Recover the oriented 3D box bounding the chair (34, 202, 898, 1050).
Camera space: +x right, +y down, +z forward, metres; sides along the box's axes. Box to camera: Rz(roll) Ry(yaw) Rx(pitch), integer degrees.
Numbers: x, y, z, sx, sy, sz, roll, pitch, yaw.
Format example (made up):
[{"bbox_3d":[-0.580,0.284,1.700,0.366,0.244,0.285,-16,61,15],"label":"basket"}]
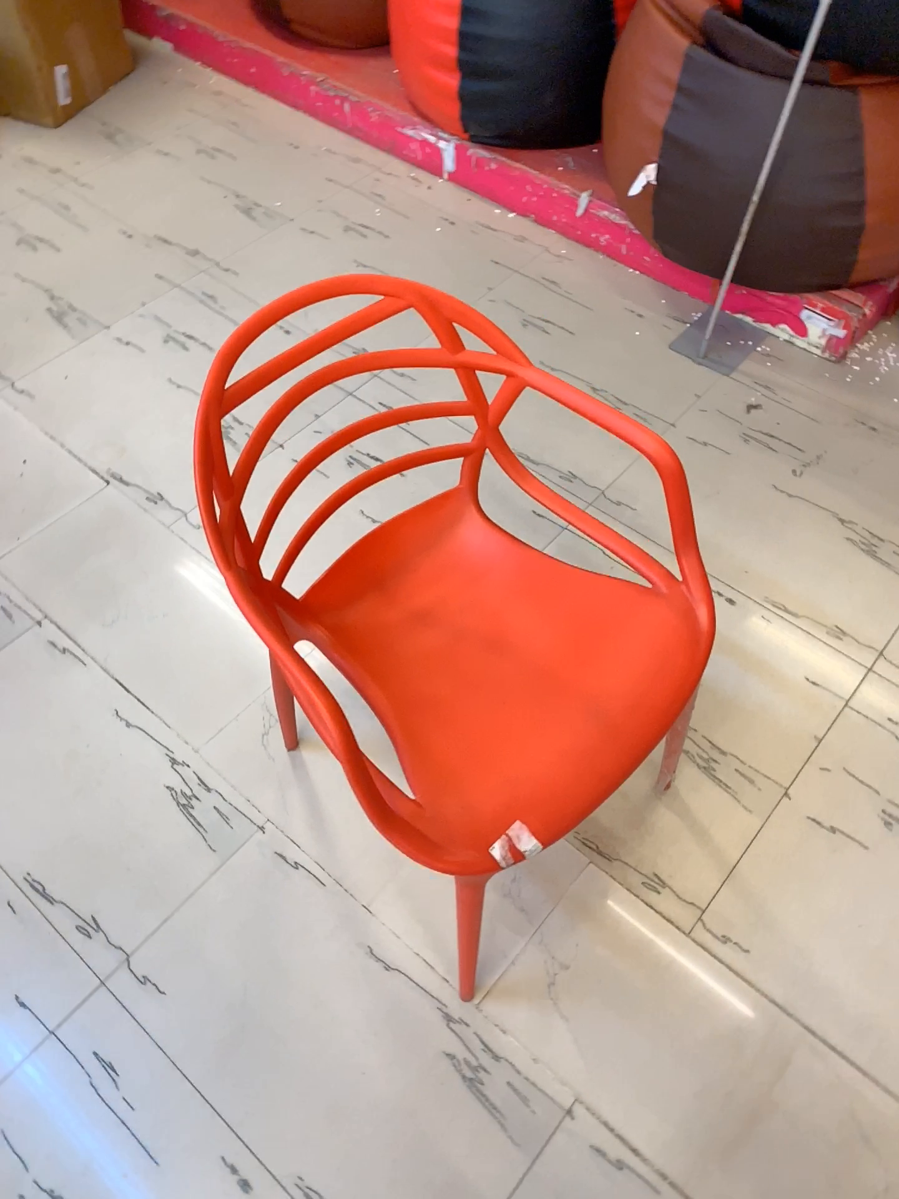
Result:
[{"bbox_3d":[0.010,0.039,1.146,0.632,0.656,0.552,38,62,25],"label":"chair"}]
